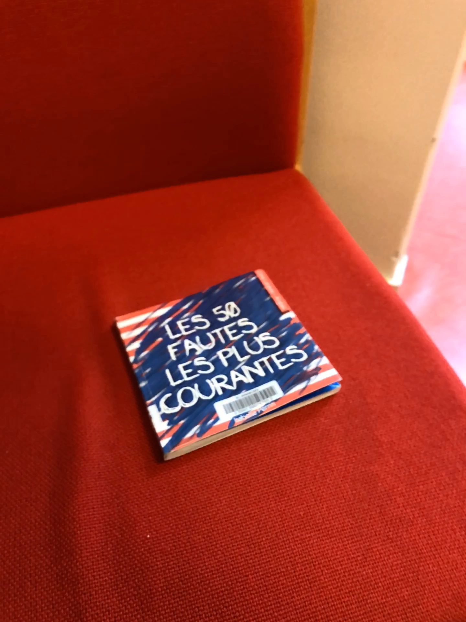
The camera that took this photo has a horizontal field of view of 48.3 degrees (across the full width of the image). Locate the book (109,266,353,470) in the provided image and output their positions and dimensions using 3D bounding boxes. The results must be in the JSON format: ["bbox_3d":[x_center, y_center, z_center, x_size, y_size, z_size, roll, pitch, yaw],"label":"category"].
[{"bbox_3d":[-0.008,0.034,0.421,0.148,0.020,0.149,-18,46,-15],"label":"book"}]
